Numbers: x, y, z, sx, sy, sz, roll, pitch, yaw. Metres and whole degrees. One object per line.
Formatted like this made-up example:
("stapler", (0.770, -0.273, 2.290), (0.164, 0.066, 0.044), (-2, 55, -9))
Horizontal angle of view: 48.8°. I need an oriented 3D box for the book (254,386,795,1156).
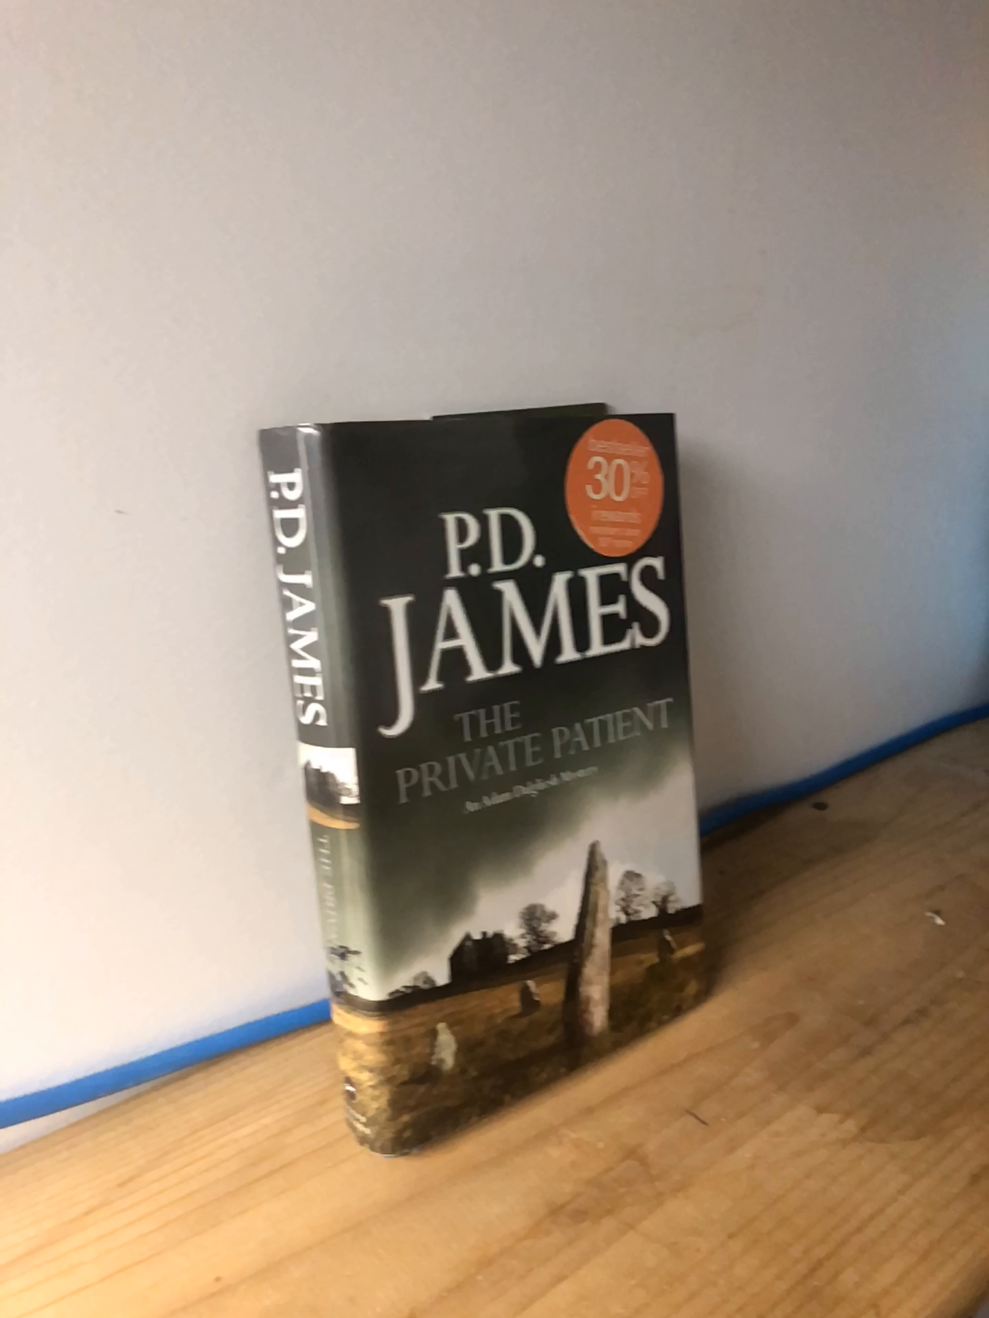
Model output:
("book", (0.022, 0.026, 0.390), (0.180, 0.229, 0.040), (-11, 9, -32))
